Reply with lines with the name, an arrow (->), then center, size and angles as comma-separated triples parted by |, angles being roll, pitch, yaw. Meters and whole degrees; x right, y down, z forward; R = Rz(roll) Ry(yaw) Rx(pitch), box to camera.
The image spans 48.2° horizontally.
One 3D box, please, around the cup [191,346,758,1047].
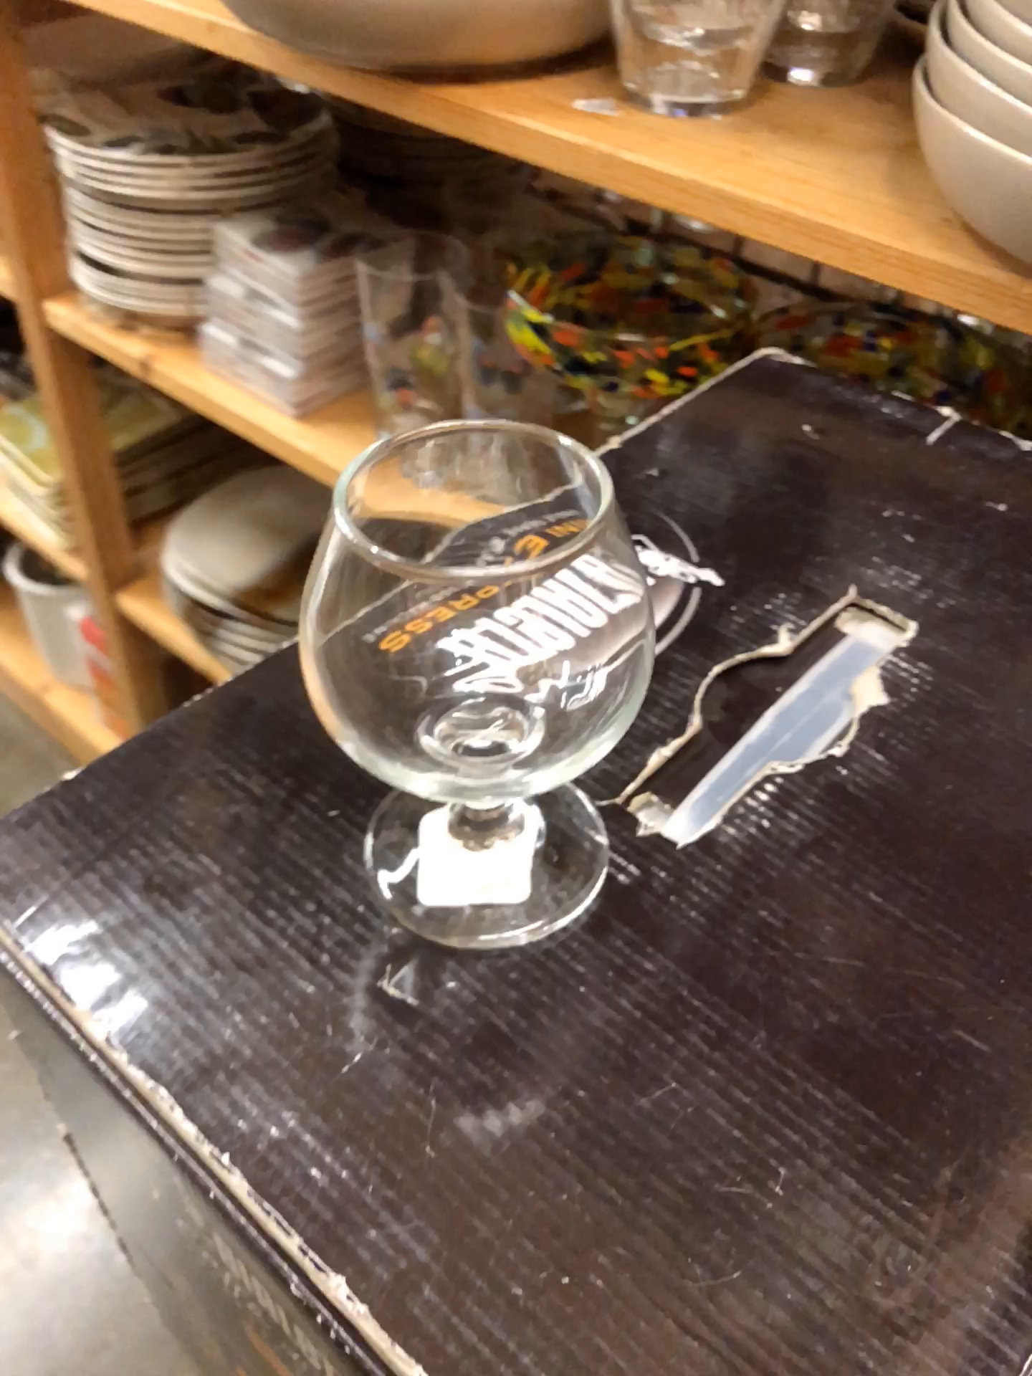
cup -> -0.010, 0.002, 0.238 | 0.071, 0.106, 0.069 | 1, 44, -1
